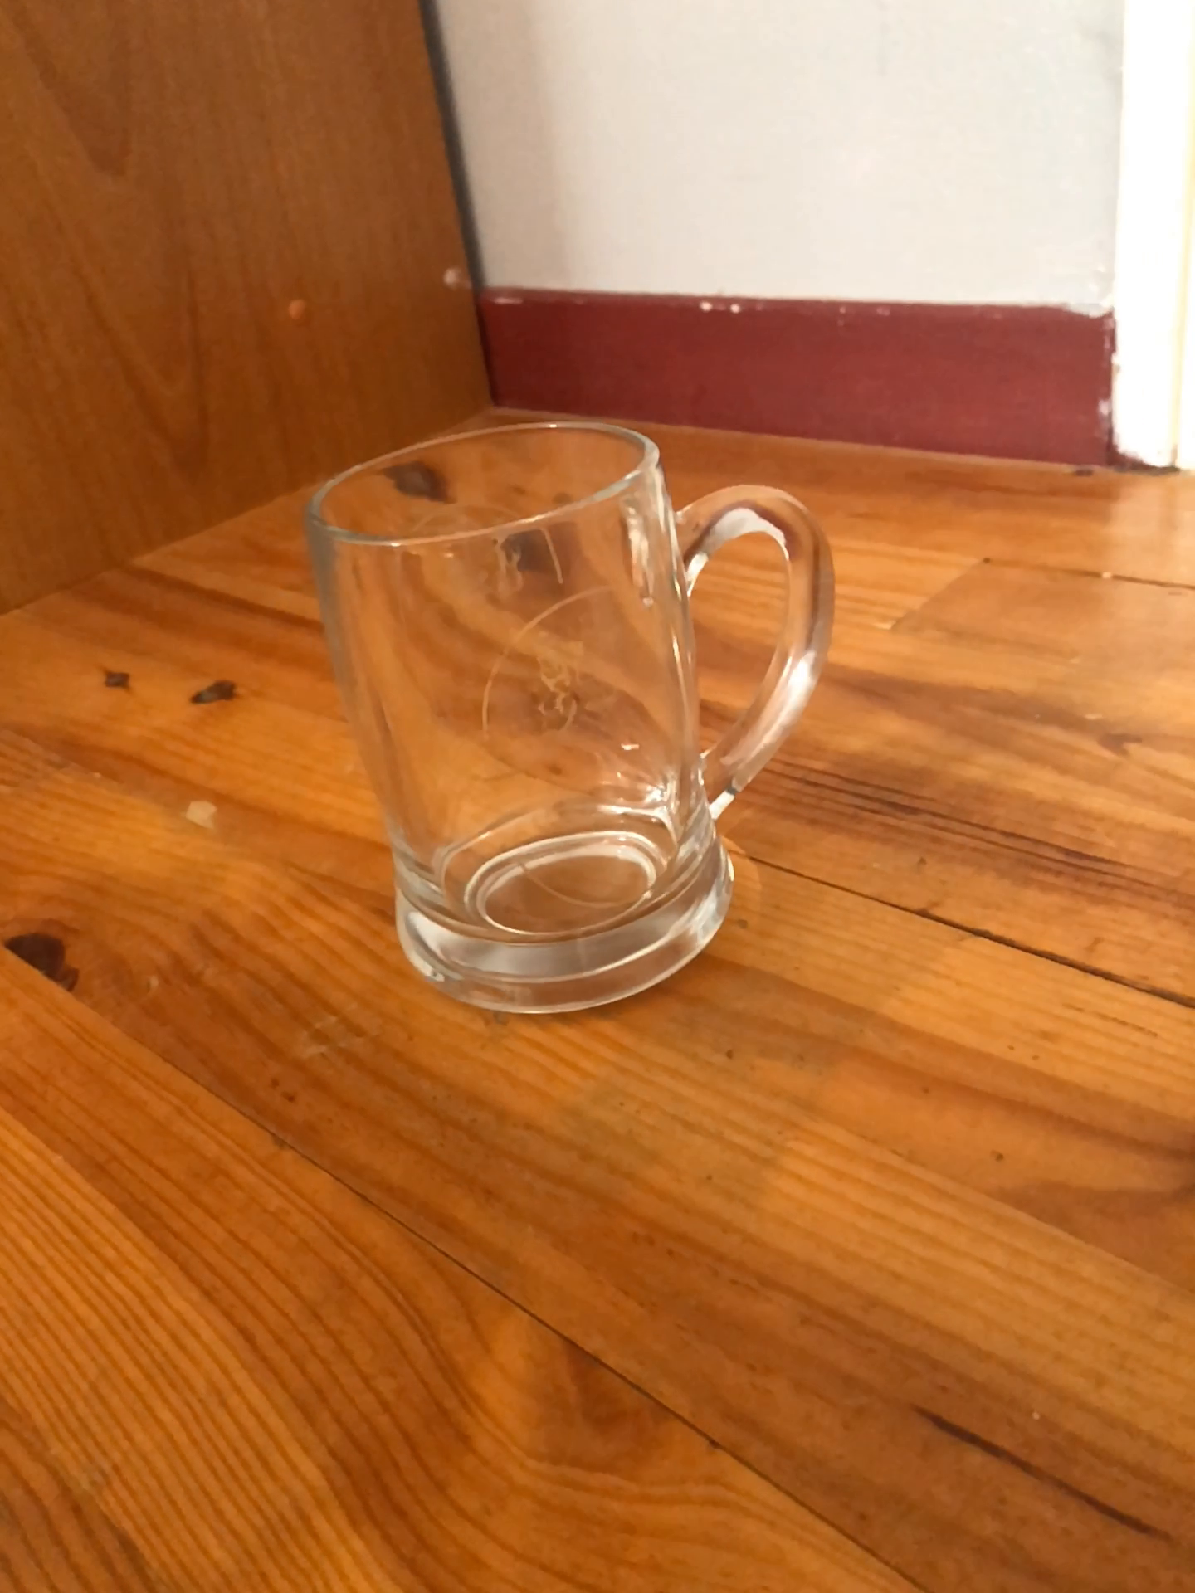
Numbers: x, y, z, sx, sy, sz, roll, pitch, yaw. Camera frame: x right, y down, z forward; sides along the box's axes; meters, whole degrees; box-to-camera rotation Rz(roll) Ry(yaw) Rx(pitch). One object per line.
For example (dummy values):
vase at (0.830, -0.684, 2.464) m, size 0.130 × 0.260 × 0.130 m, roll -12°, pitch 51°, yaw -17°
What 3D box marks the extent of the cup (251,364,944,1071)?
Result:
cup at (0.001, -0.025, 0.314) m, size 0.128 × 0.110 × 0.091 m, roll -17°, pitch 32°, yaw -13°
